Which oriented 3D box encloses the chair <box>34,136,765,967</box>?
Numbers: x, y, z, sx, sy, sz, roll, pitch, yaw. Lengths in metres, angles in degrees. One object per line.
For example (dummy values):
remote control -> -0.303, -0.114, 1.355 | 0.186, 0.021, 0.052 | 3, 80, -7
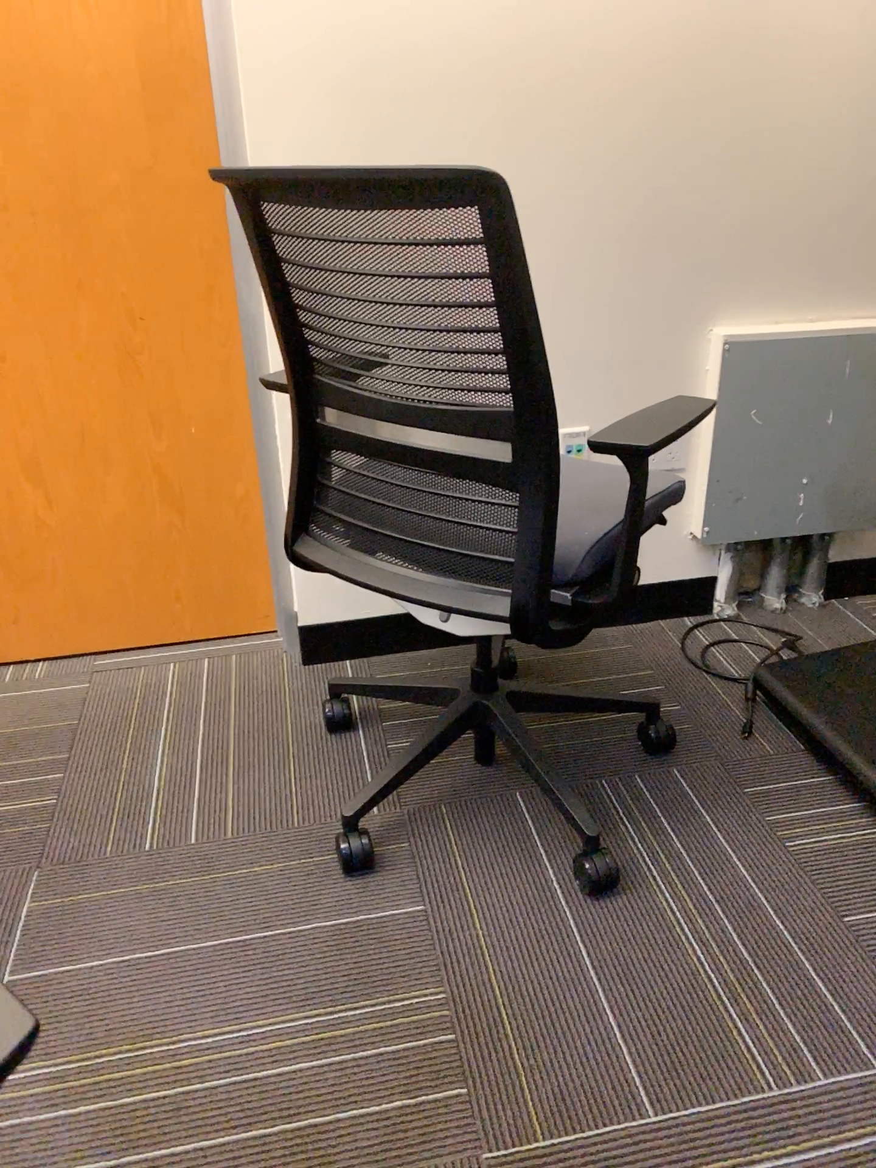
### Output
chair -> 0.037, -0.153, 1.439 | 0.741, 0.994, 0.783 | 9, 28, 21
